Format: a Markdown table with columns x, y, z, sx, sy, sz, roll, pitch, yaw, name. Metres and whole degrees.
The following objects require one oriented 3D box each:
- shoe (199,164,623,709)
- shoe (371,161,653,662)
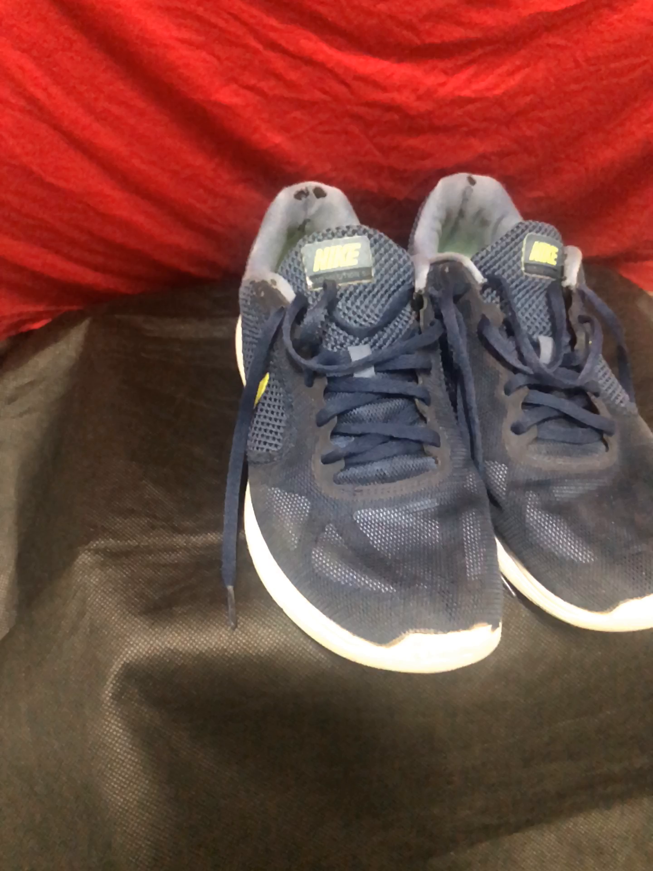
| x | y | z | sx | sy | sz | roll | pitch | yaw | name |
| --- | --- | --- | --- | --- | --- | --- | --- | --- | --- |
| 0.011 | -0.020 | 0.324 | 0.110 | 0.099 | 0.232 | -6 | 46 | -10 | shoe |
| 0.111 | -0.035 | 0.367 | 0.110 | 0.089 | 0.262 | -6 | 46 | -10 | shoe |
